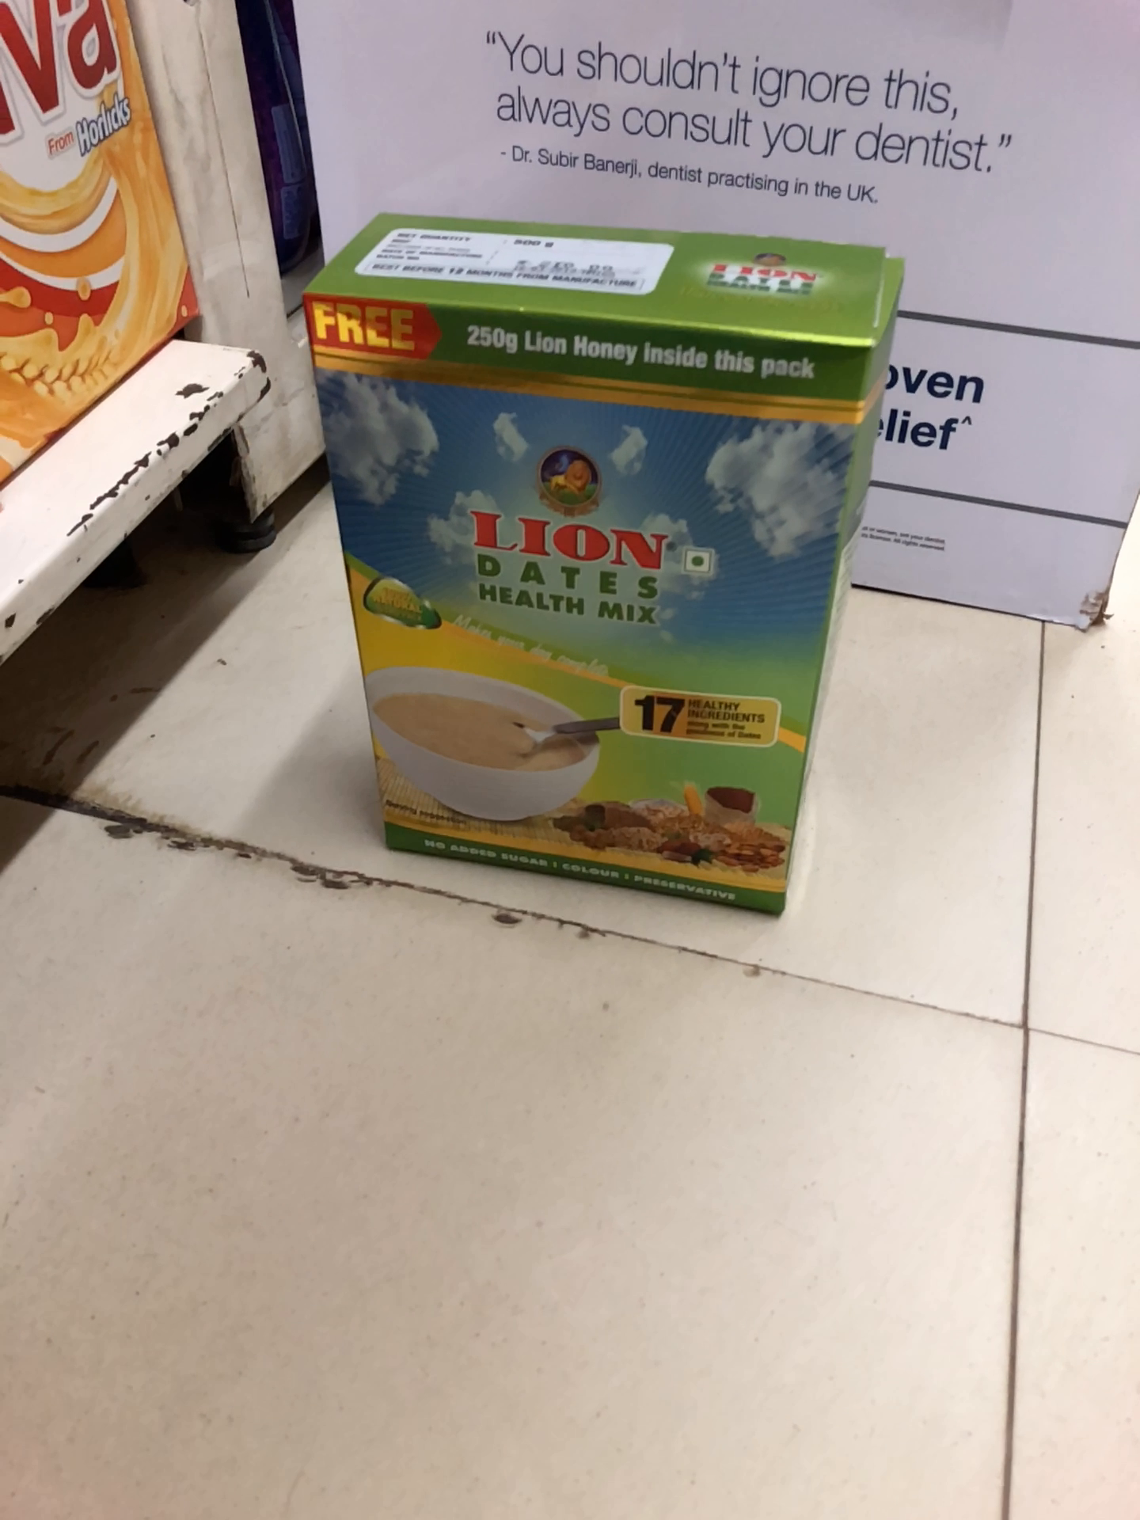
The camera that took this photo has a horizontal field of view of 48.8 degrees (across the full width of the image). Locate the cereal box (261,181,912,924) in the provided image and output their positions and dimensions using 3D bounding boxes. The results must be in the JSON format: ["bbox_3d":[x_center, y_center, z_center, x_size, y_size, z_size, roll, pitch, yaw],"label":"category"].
[{"bbox_3d":[0.008,-0.053,0.353,0.140,0.179,0.071,9,42,11],"label":"cereal box"}]
